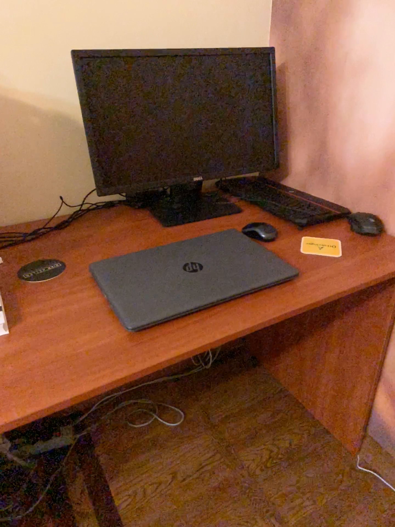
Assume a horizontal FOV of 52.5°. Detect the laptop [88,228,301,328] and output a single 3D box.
[{"bbox_3d":[-0.012,0.009,0.839,0.369,0.005,0.248,-15,33,-24],"label":"laptop"}]
